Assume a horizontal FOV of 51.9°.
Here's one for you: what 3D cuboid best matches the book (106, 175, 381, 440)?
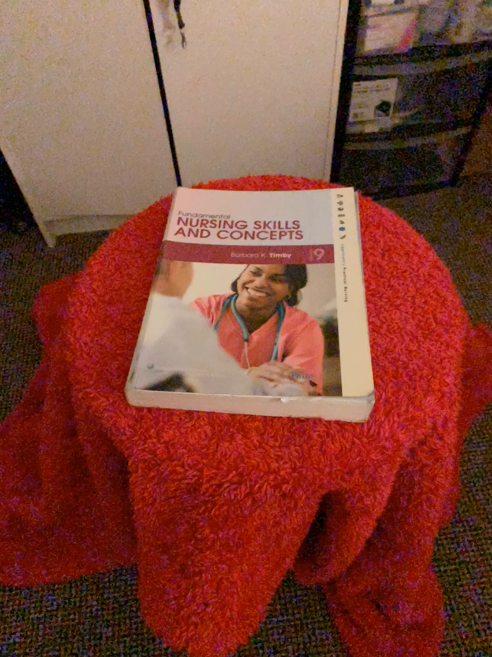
[{"bbox_3d":[0.009,-0.042,0.541,0.230,0.069,0.302,2,52,5],"label":"book"}]
